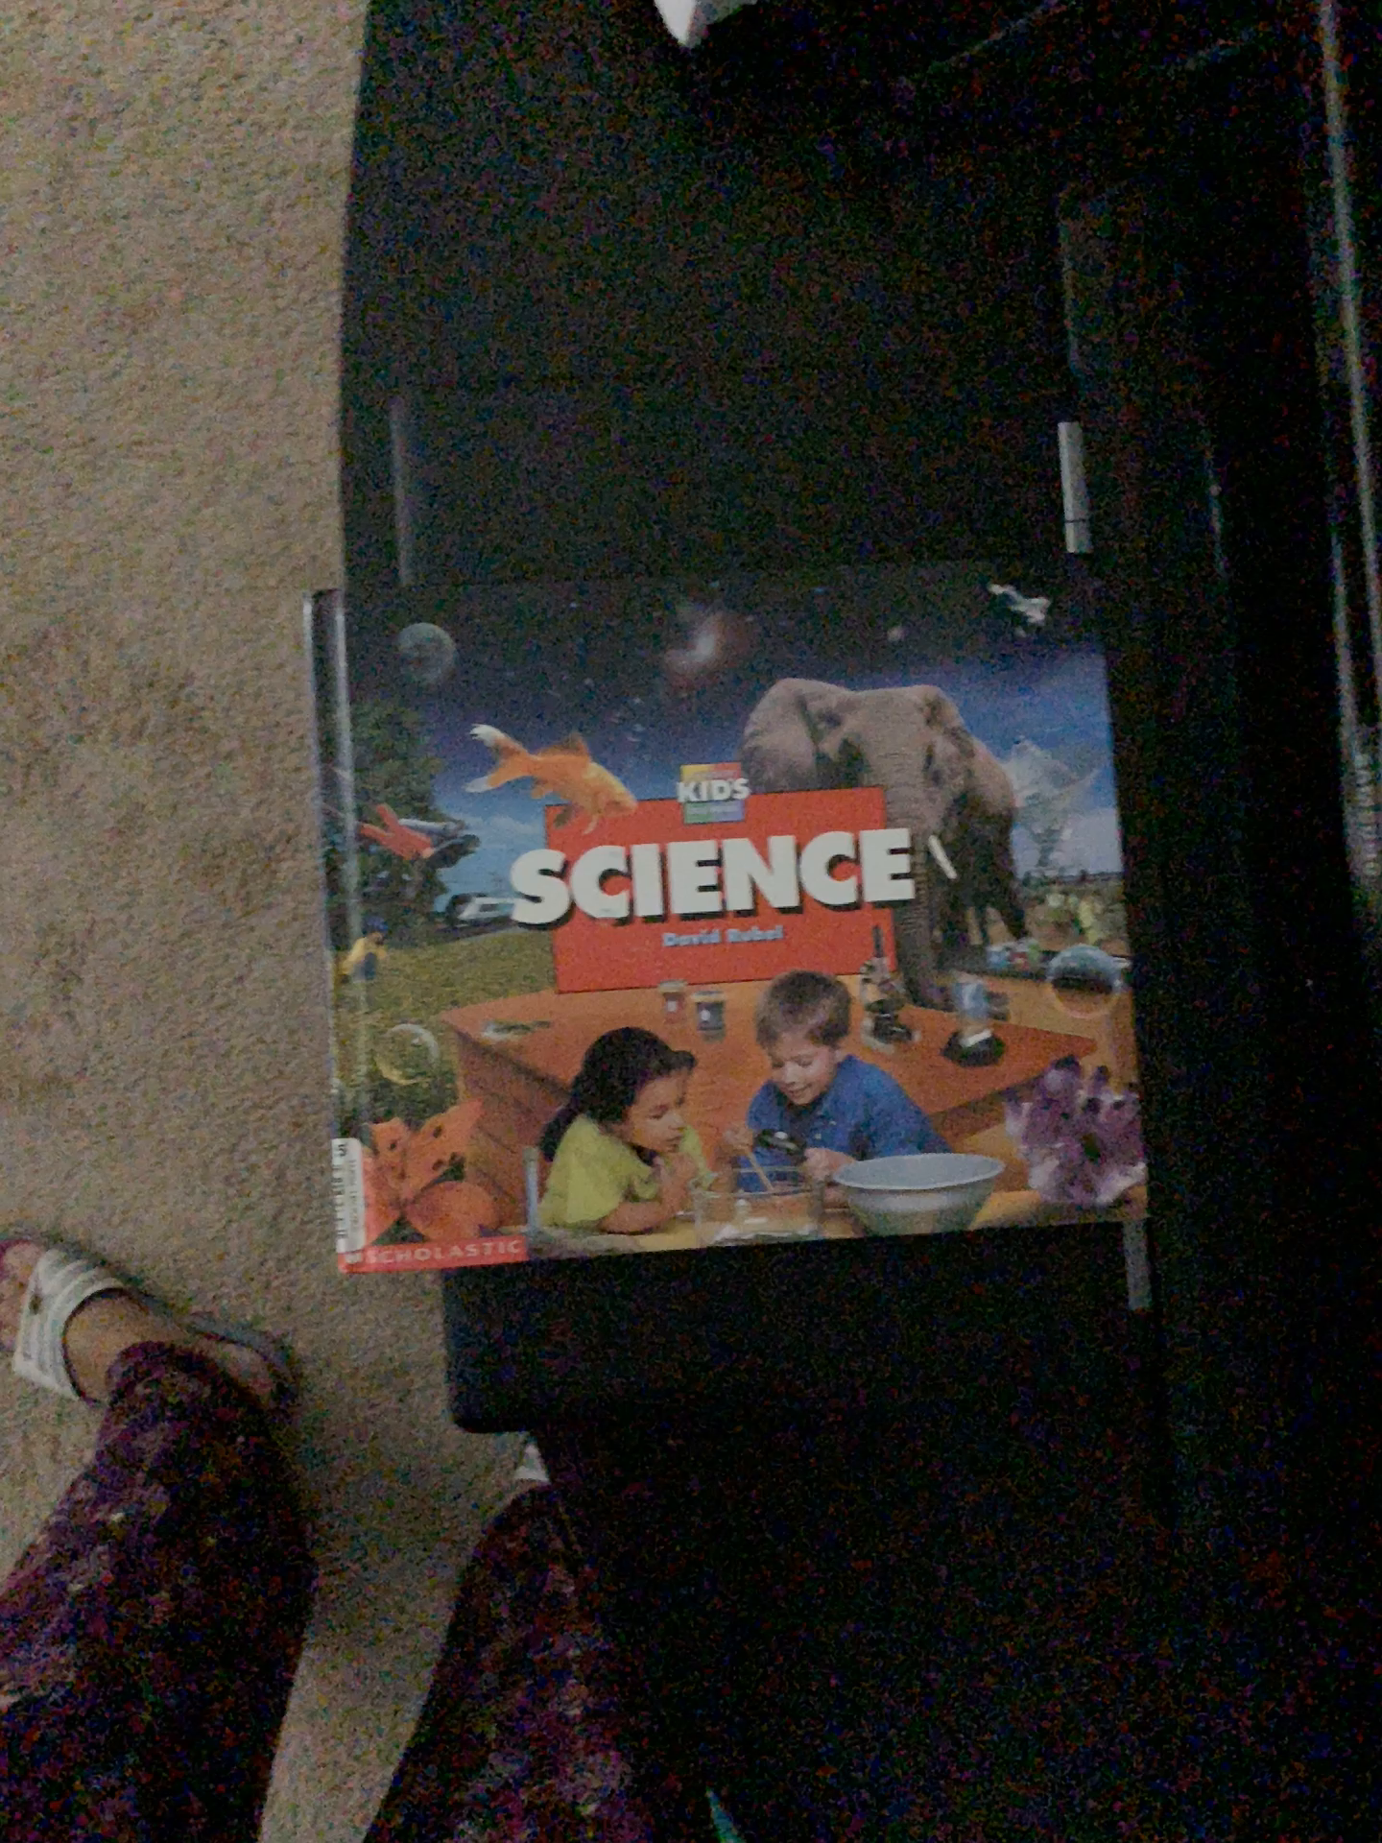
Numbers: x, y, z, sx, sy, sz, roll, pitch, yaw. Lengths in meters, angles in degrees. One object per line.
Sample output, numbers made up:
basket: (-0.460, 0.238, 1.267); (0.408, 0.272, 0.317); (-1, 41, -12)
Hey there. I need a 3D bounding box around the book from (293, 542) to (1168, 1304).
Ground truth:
book: (0.012, -0.001, 0.491); (0.280, 0.030, 0.240); (-3, 87, -1)
